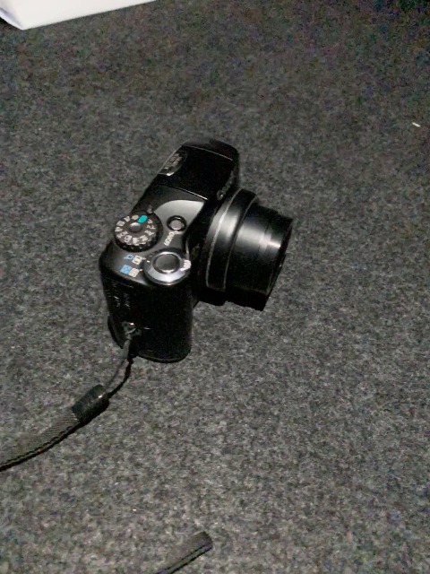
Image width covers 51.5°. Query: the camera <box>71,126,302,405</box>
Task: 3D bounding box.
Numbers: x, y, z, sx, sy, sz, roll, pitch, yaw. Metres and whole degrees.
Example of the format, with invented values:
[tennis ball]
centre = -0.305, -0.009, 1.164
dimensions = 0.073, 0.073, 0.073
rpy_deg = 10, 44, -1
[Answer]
[camera]
centre = -0.008, -0.014, 0.236
dimensions = 0.070, 0.079, 0.108
rpy_deg = 17, 52, 11
